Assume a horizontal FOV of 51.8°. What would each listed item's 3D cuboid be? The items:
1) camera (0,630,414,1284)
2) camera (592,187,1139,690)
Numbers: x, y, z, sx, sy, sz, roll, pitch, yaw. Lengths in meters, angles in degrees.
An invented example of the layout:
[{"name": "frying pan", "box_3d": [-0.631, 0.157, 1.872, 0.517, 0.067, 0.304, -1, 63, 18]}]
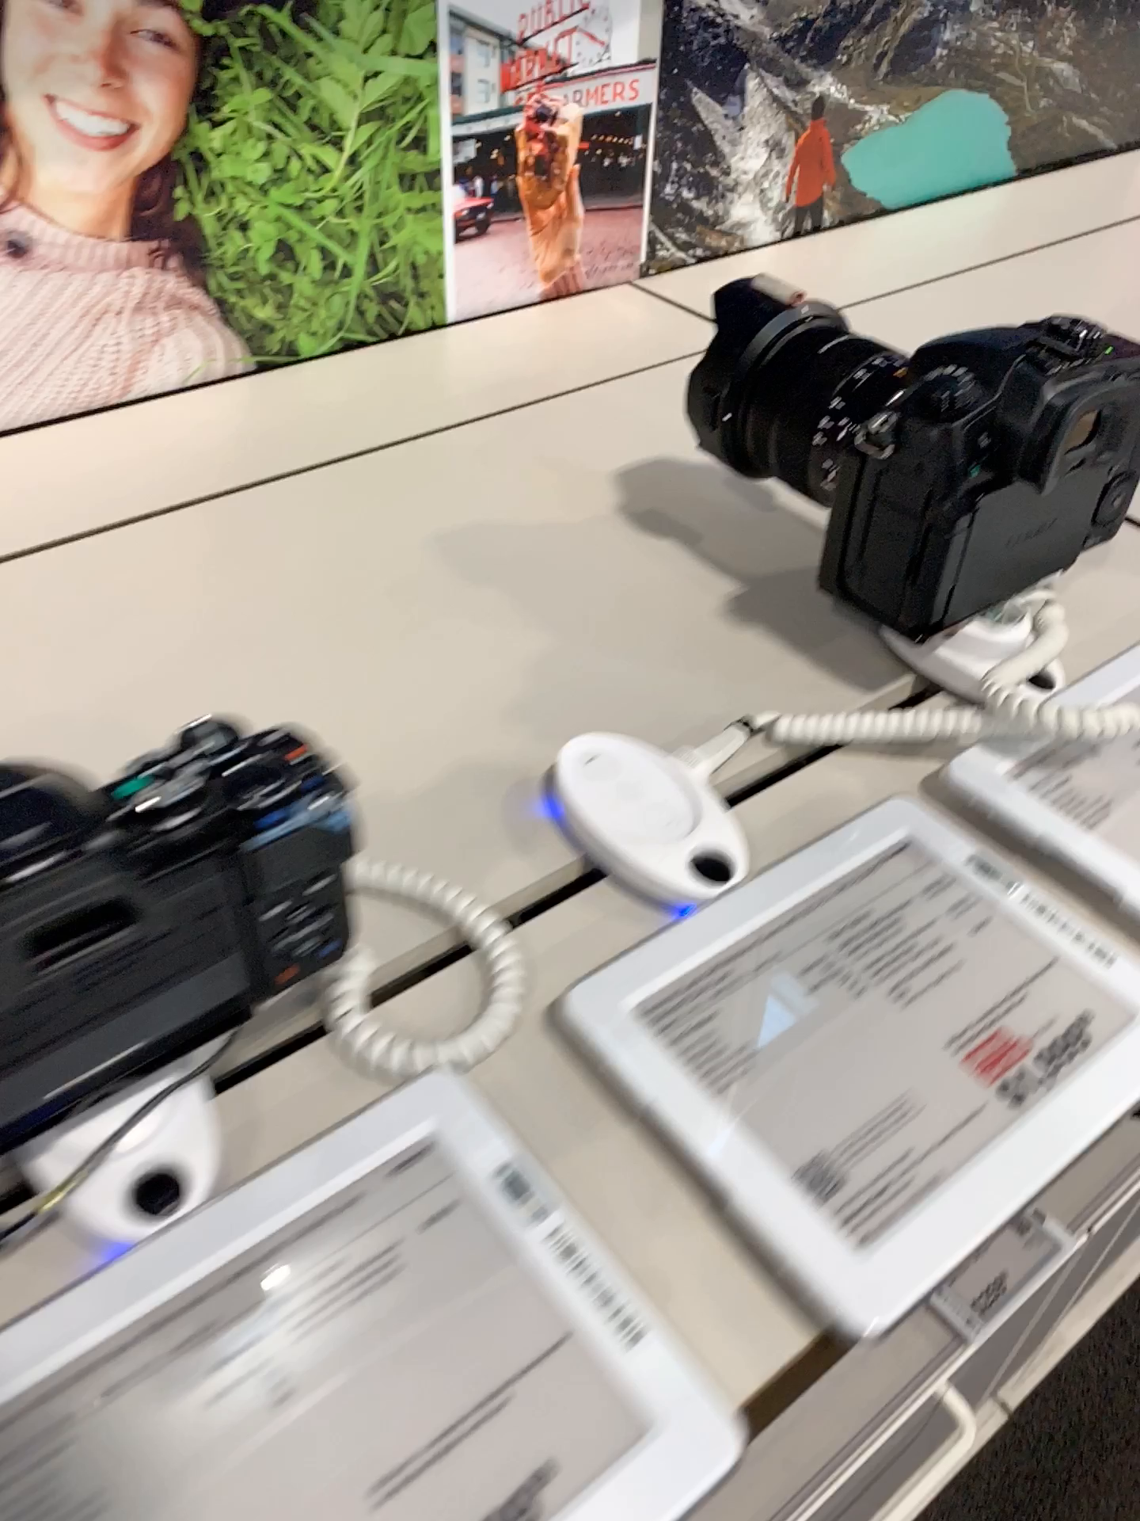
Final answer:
[{"name": "camera", "box_3d": [-0.115, 0.041, 0.285, 0.130, 0.080, 0.070, -28, 50, -29]}, {"name": "camera", "box_3d": [0.129, -0.145, 0.484, 0.140, 0.099, 0.201, -28, 50, -29]}]
